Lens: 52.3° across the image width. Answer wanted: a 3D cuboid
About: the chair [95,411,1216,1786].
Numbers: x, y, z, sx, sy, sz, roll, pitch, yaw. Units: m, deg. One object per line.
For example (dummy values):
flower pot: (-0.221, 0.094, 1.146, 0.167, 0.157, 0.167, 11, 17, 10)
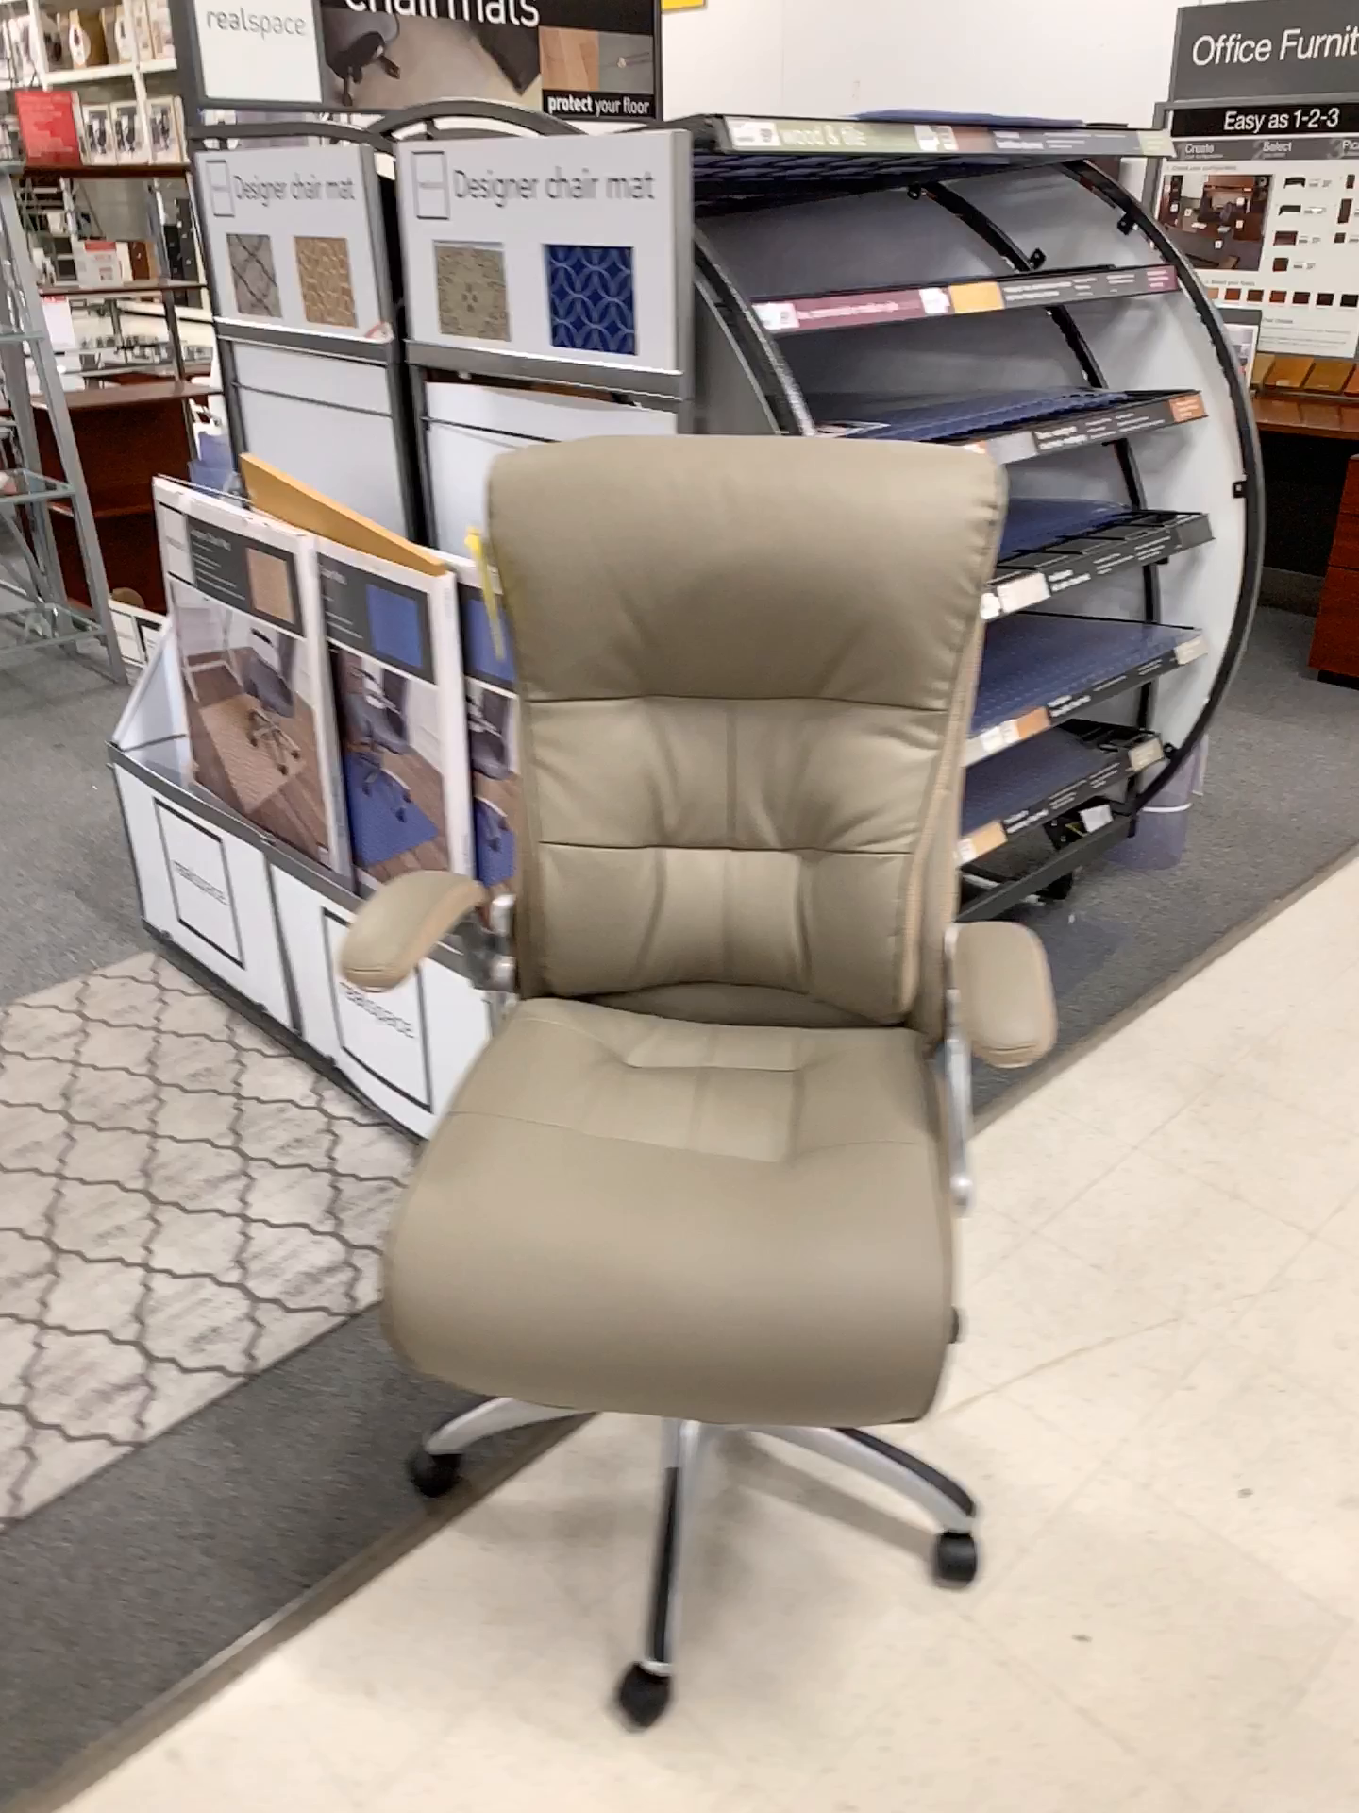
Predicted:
chair: (0.024, 0.145, 1.440, 0.710, 1.144, 0.723, 4, 27, 8)
